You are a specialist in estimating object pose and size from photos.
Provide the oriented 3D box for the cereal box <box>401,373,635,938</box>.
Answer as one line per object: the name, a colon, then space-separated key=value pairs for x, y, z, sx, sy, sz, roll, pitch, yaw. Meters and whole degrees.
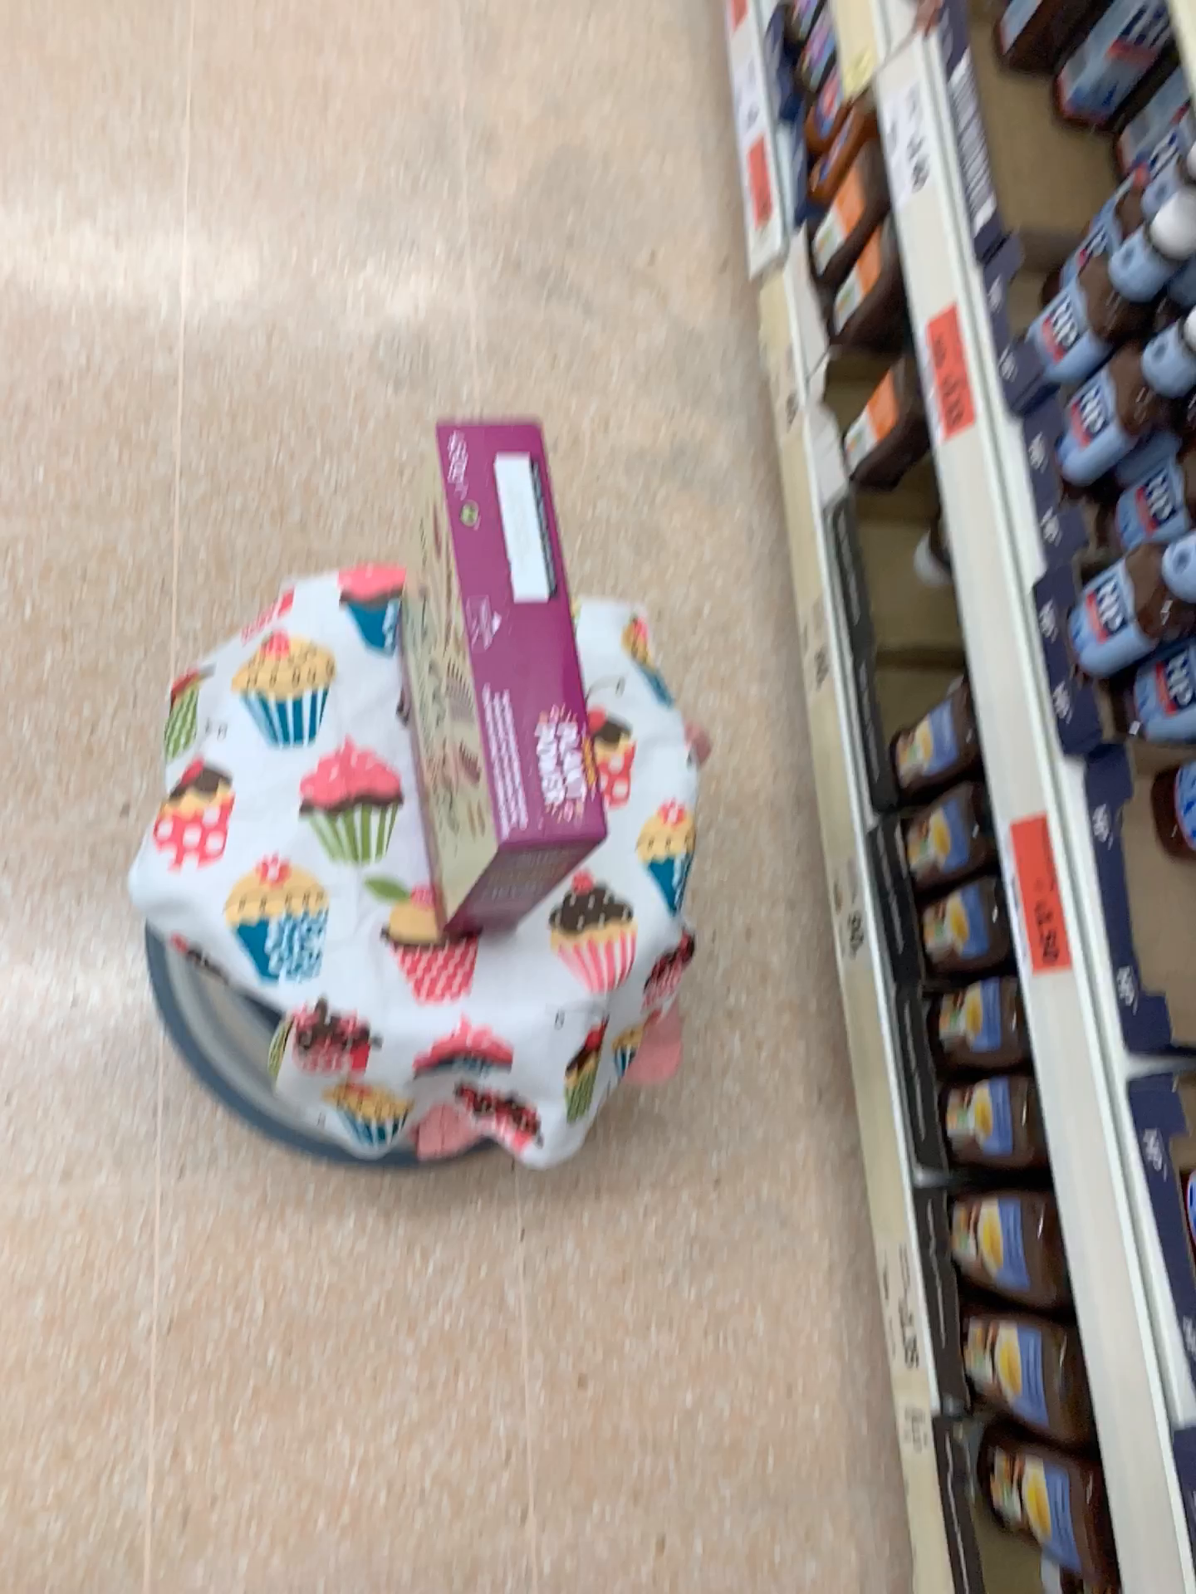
cereal box: x=-0.053 y=-0.052 z=0.618 sx=0.050 sy=0.249 sz=0.201 roll=-5 pitch=75 yaw=-15
